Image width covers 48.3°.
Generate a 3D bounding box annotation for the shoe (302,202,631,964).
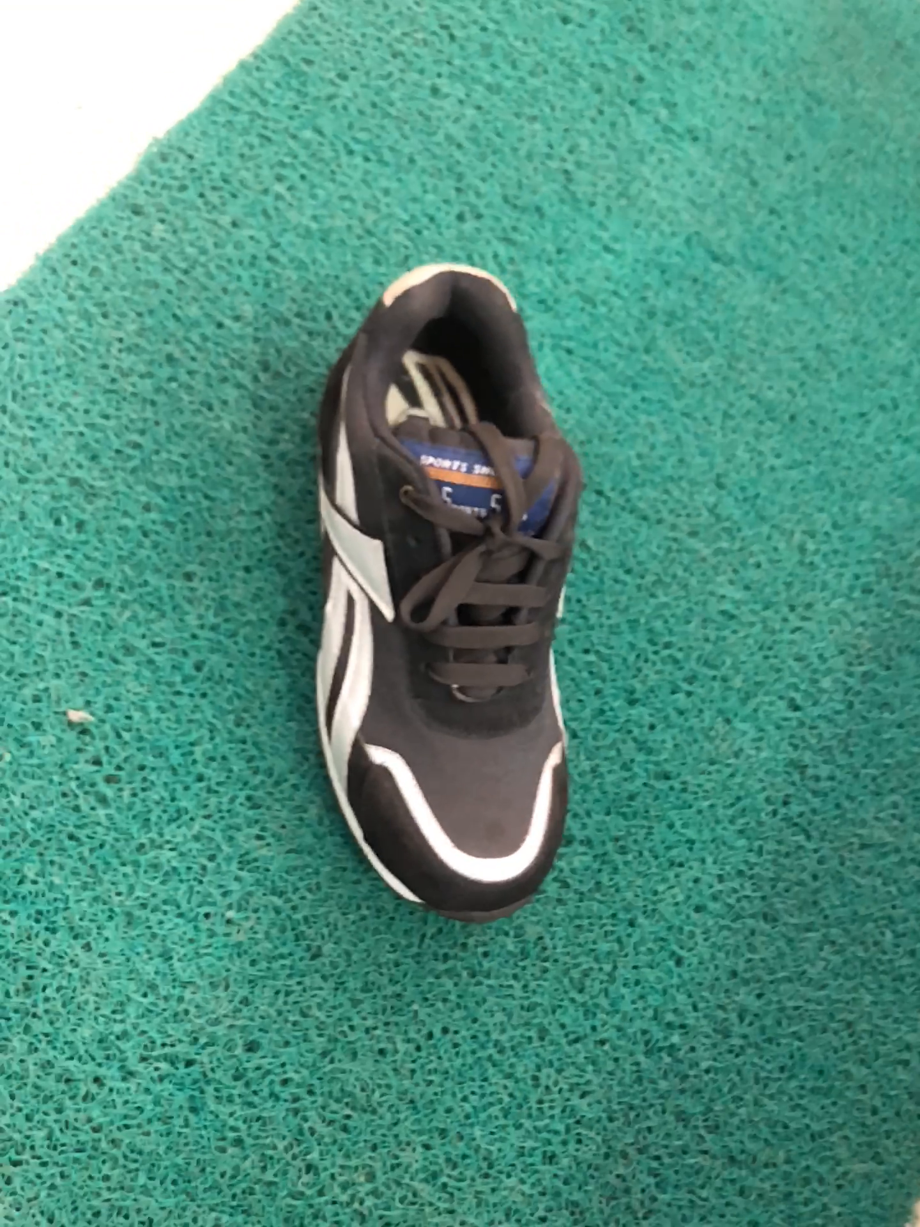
[{"bbox_3d":[-0.009,-0.009,0.440,0.100,0.110,0.290,2,75,-17],"label":"shoe"}]
